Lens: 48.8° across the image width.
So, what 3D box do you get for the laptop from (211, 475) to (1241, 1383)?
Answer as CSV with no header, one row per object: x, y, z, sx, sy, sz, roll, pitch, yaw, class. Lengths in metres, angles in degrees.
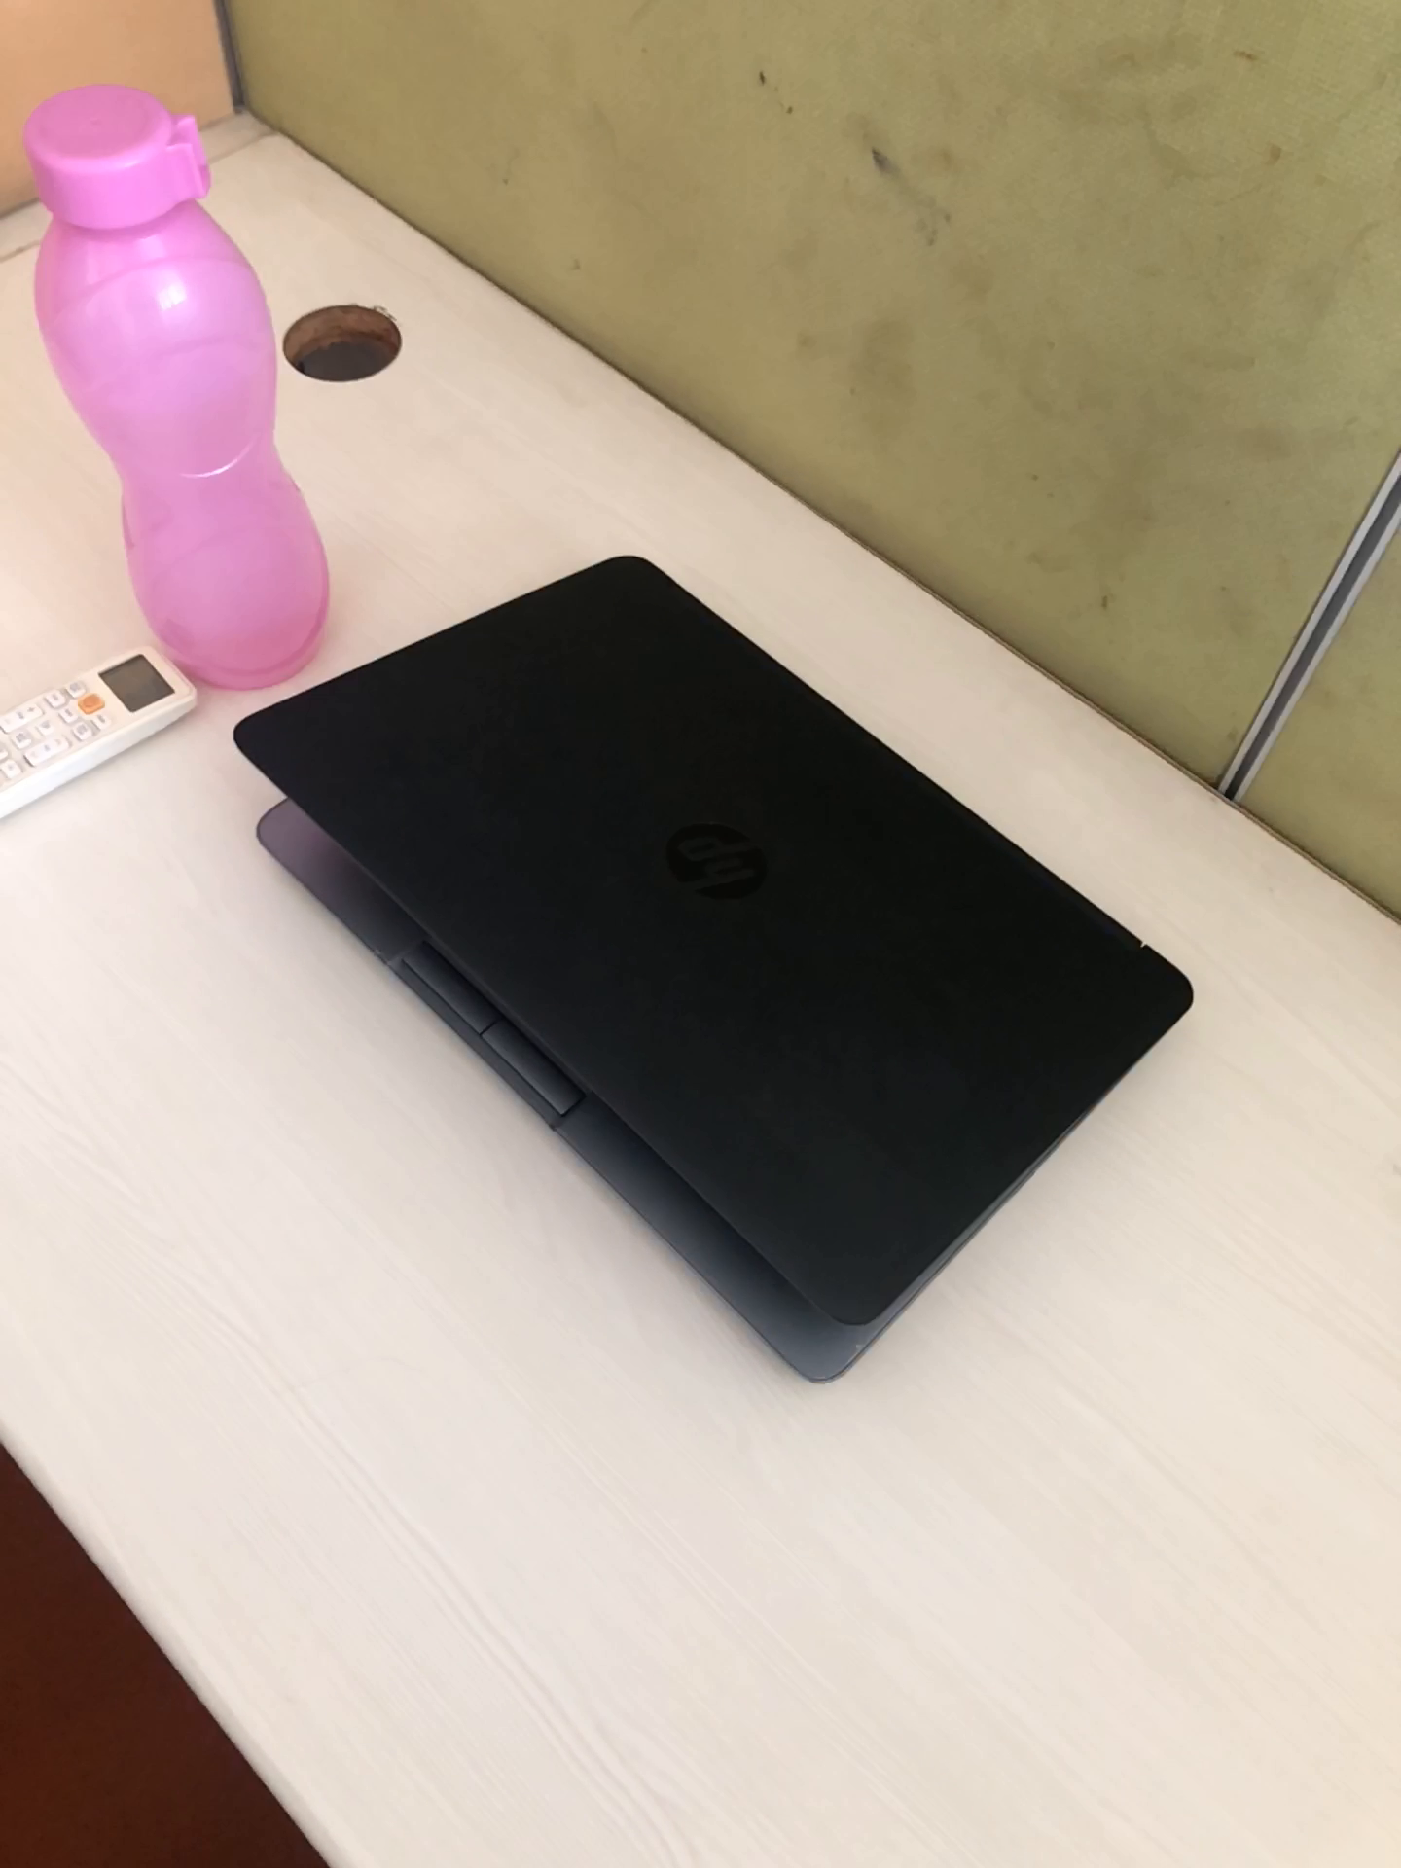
0.003,-0.025,0.616,0.226,0.050,0.330,-39,68,-22,laptop
